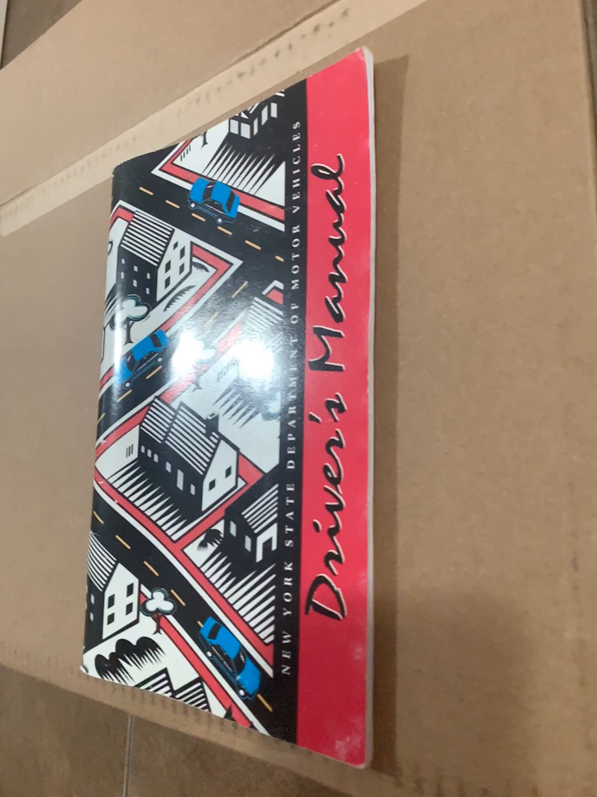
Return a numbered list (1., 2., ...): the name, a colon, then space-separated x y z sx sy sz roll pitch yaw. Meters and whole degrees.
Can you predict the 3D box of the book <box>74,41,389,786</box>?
1. book: -0.030 0.001 0.217 0.134 0.013 0.207 -4 81 40
